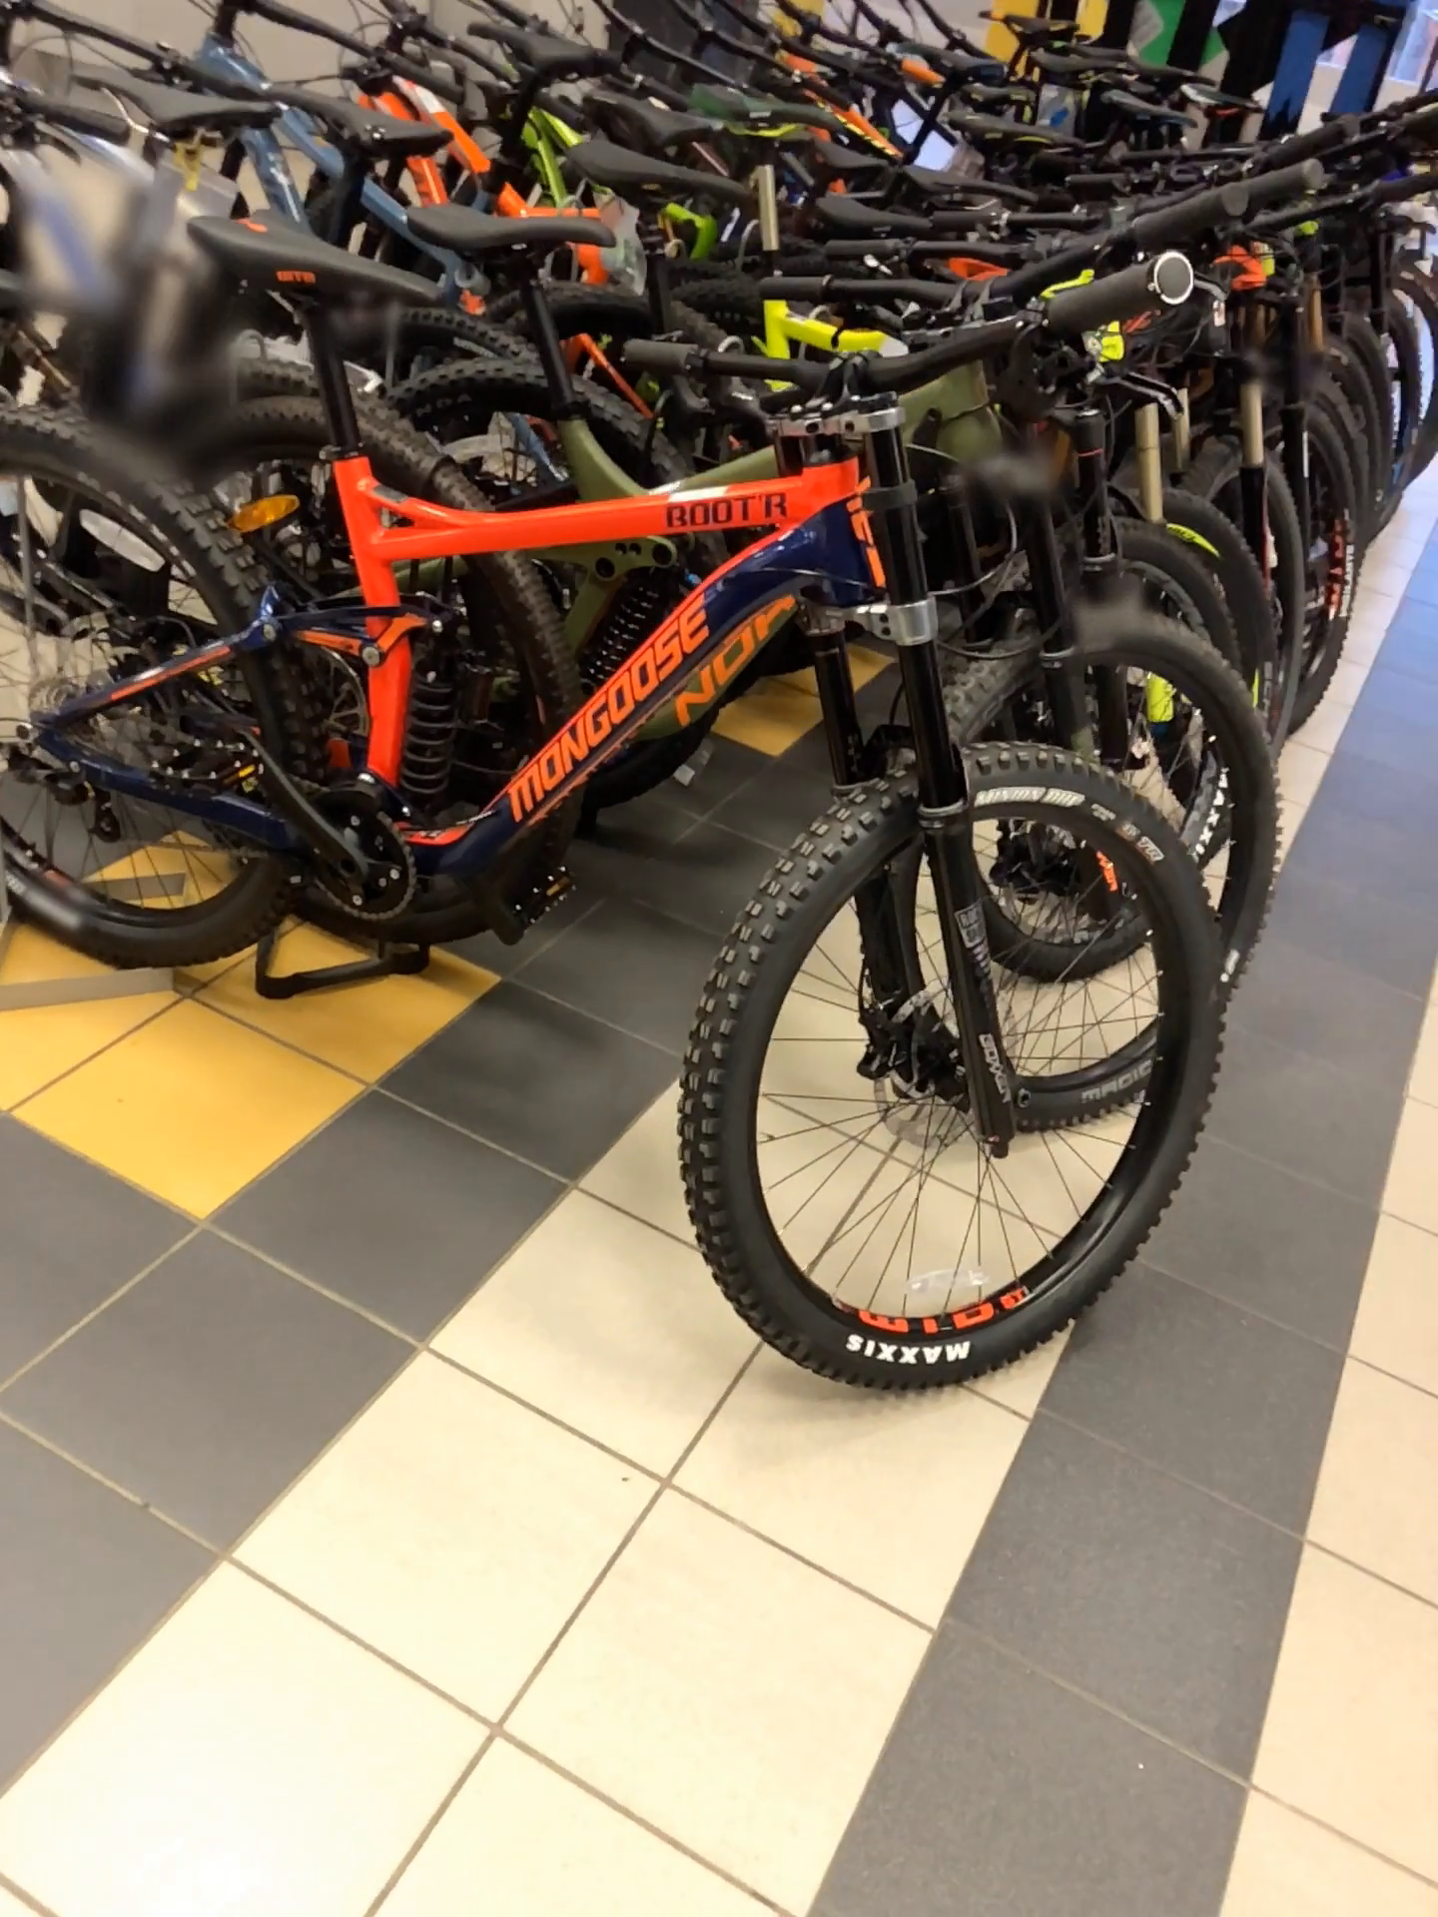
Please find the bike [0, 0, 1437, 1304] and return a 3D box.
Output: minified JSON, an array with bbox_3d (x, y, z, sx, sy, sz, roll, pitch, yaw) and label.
[{"bbox_3d":[-0.202,-0.449,1.820,1.697,1.108,0.805,15,33,9],"label":"bike"}]
